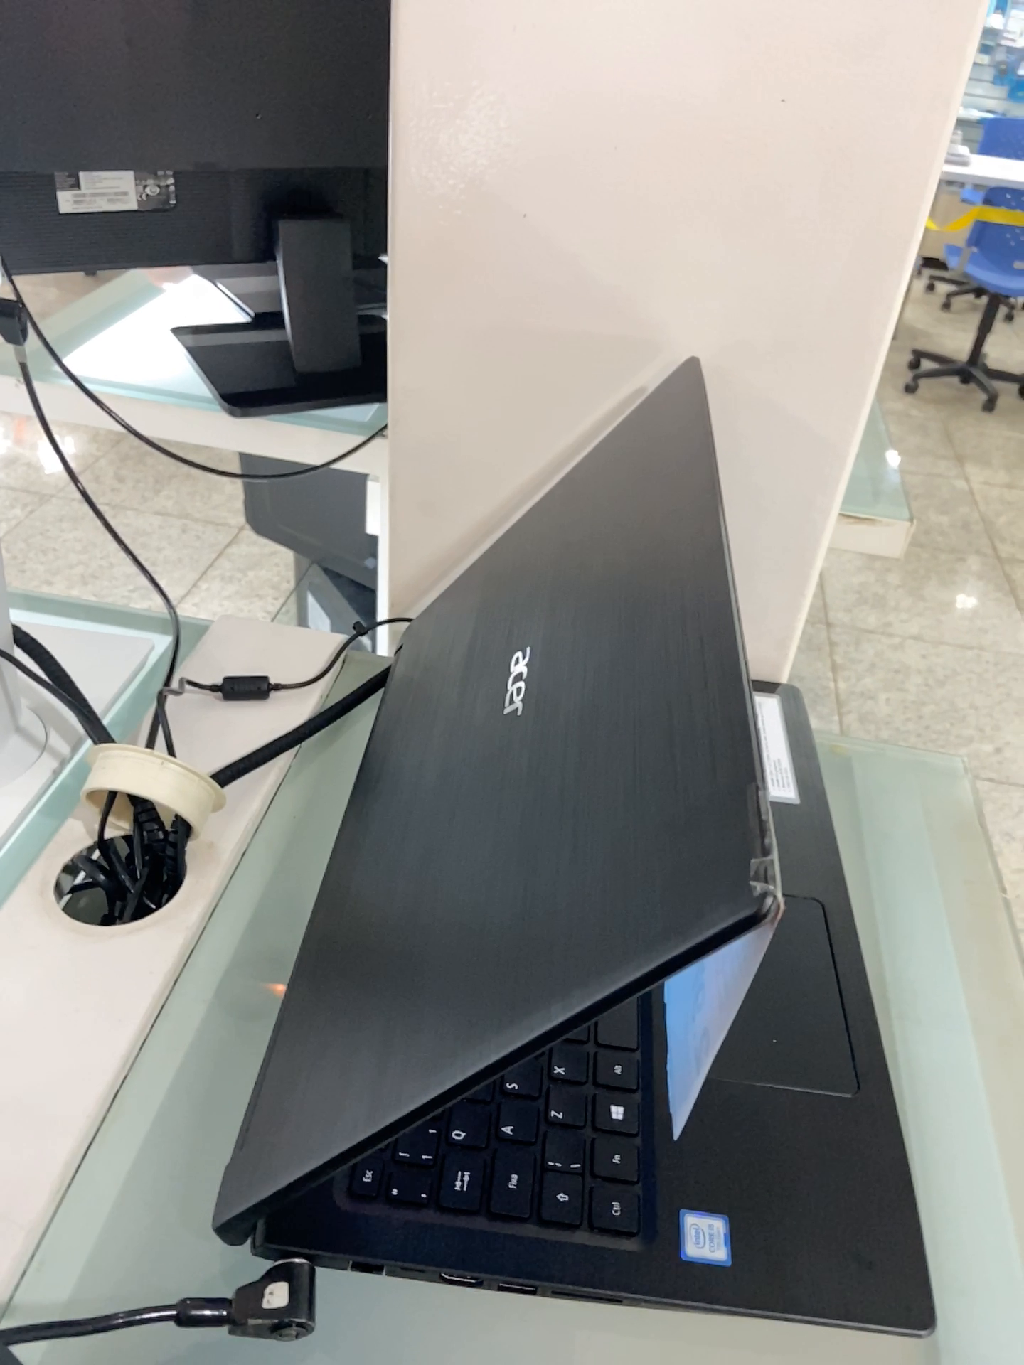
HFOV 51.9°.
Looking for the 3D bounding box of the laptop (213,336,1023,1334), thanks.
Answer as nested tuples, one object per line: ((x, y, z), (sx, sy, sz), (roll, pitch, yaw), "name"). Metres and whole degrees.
((0.055, 0.023, 0.457), (0.233, 0.193, 0.369), (8, 37, 1), "laptop")
